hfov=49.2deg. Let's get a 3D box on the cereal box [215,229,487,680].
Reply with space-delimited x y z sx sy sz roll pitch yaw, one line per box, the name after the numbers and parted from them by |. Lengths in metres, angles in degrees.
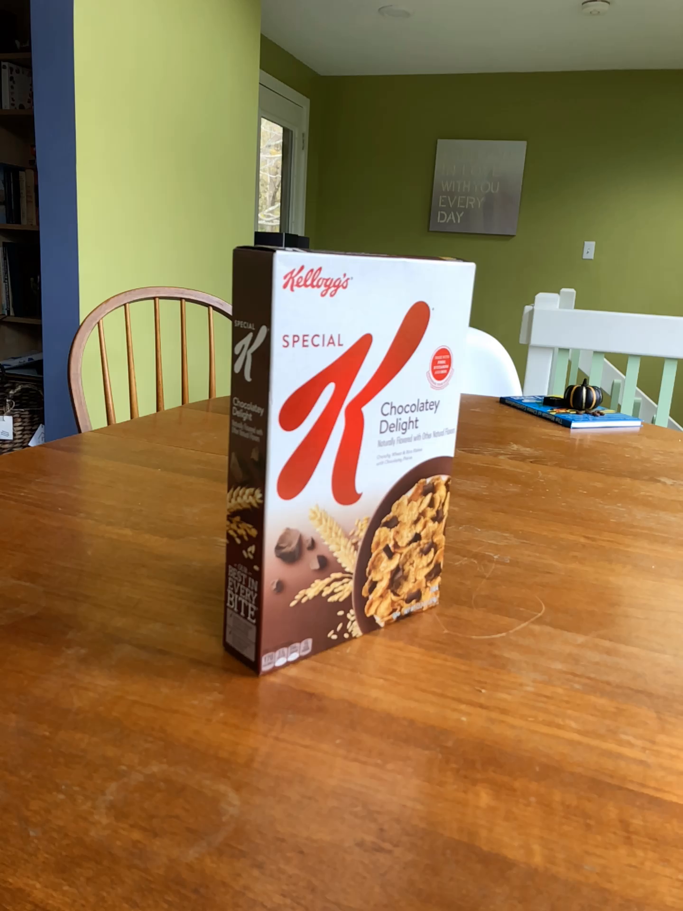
0.009 -0.009 0.547 0.201 0.289 0.050 -10 20 -41 | cereal box
